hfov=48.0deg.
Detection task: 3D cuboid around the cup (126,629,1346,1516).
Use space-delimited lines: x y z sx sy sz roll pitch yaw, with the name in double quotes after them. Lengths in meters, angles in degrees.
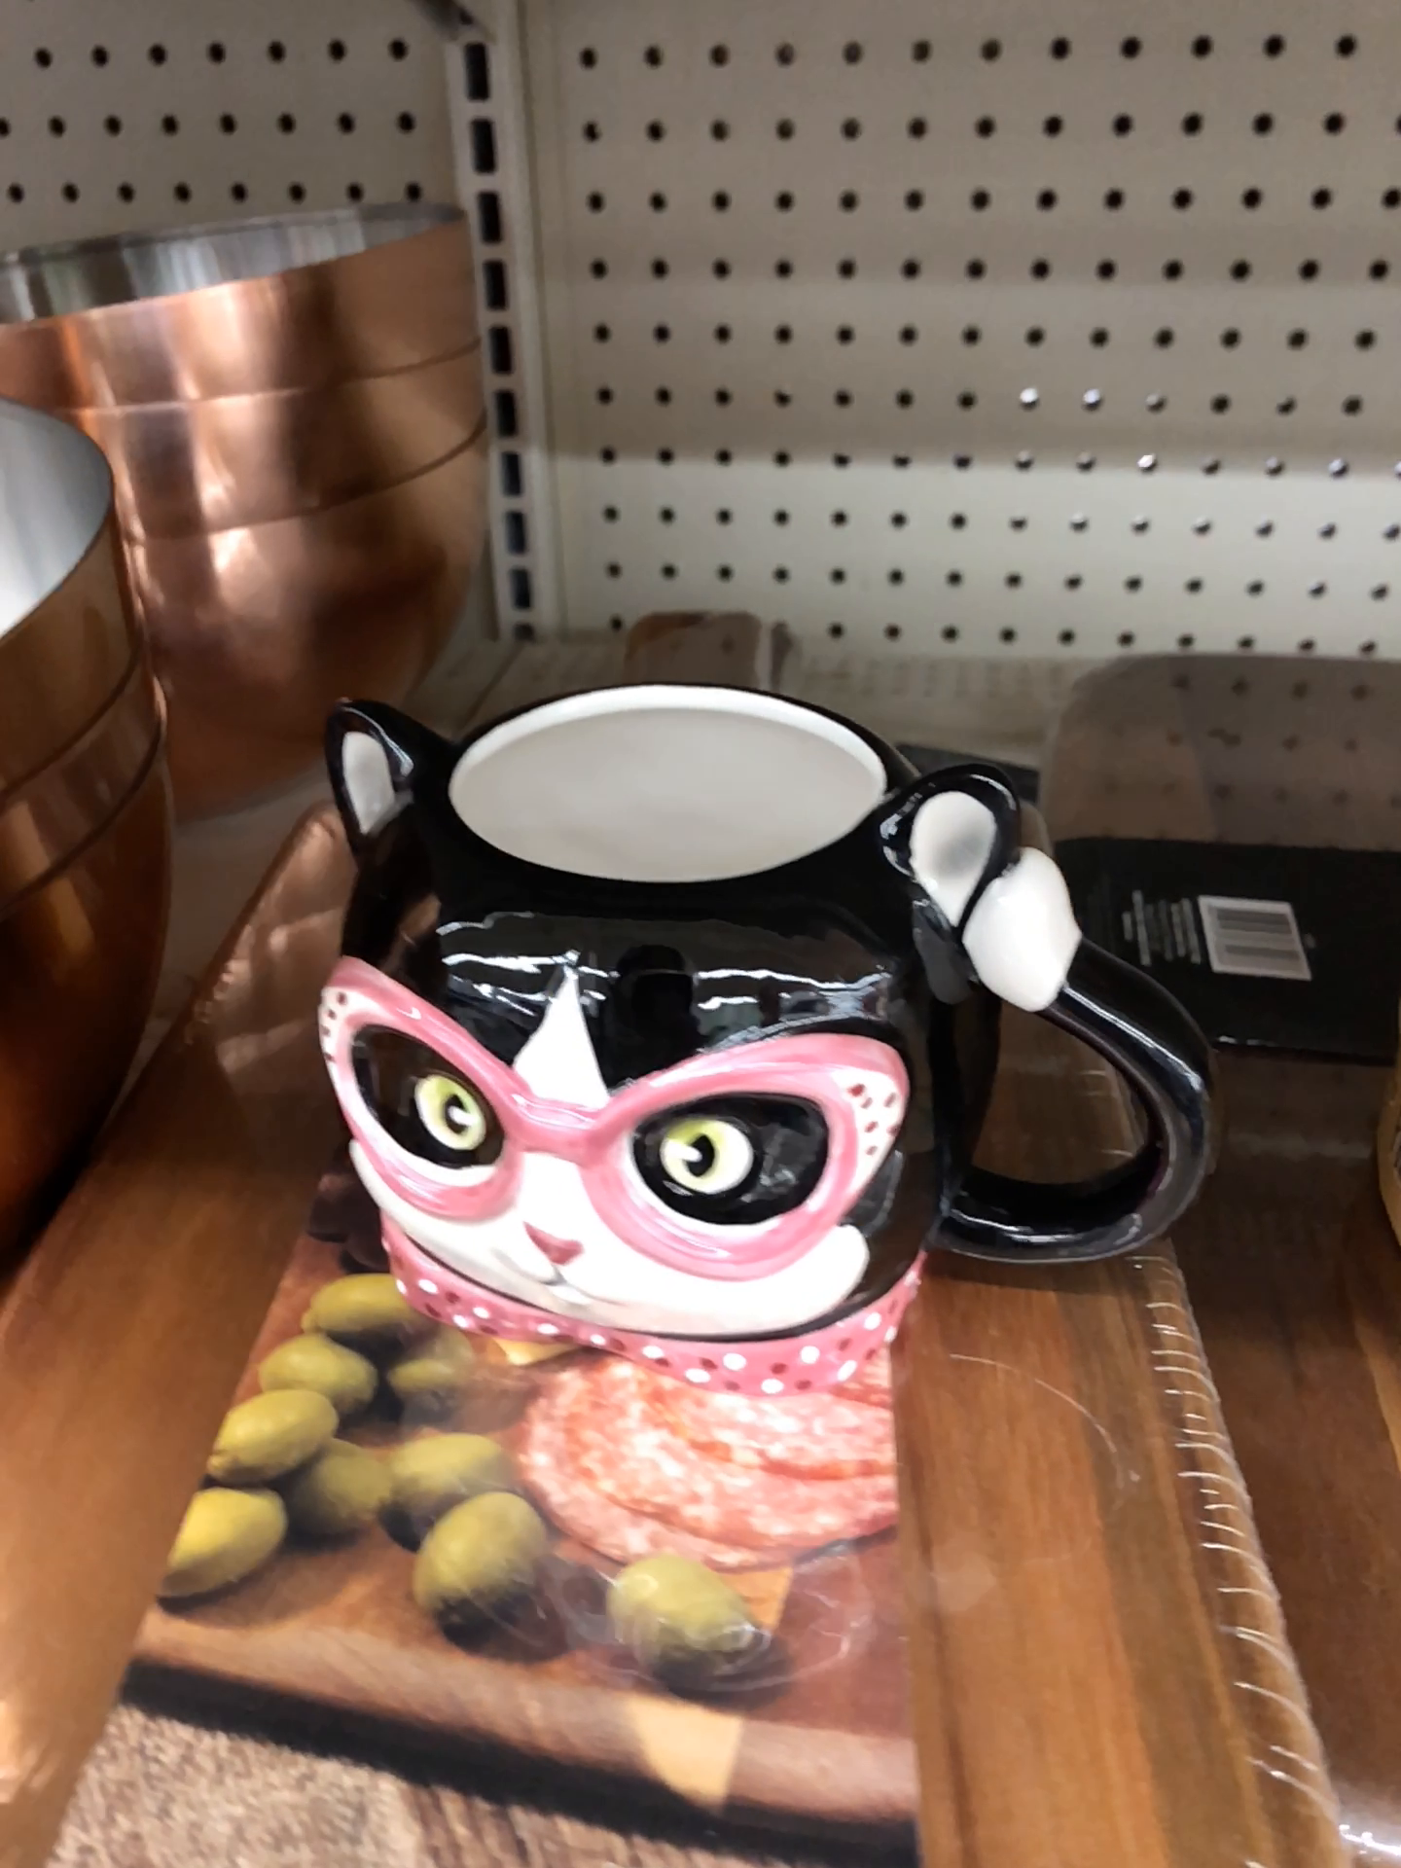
0.009 0.012 0.239 0.150 0.080 0.080 8 33 15 "cup"
